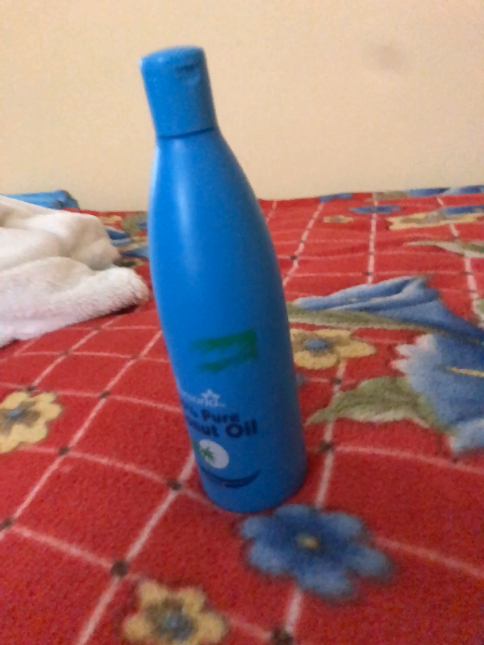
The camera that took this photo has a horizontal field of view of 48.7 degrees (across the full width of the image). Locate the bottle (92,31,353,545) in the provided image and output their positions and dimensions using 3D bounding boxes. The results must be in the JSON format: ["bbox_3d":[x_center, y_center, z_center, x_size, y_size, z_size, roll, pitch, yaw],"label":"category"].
[{"bbox_3d":[0.004,-0.010,0.267,0.070,0.229,0.070,-7,25,3],"label":"bottle"}]
